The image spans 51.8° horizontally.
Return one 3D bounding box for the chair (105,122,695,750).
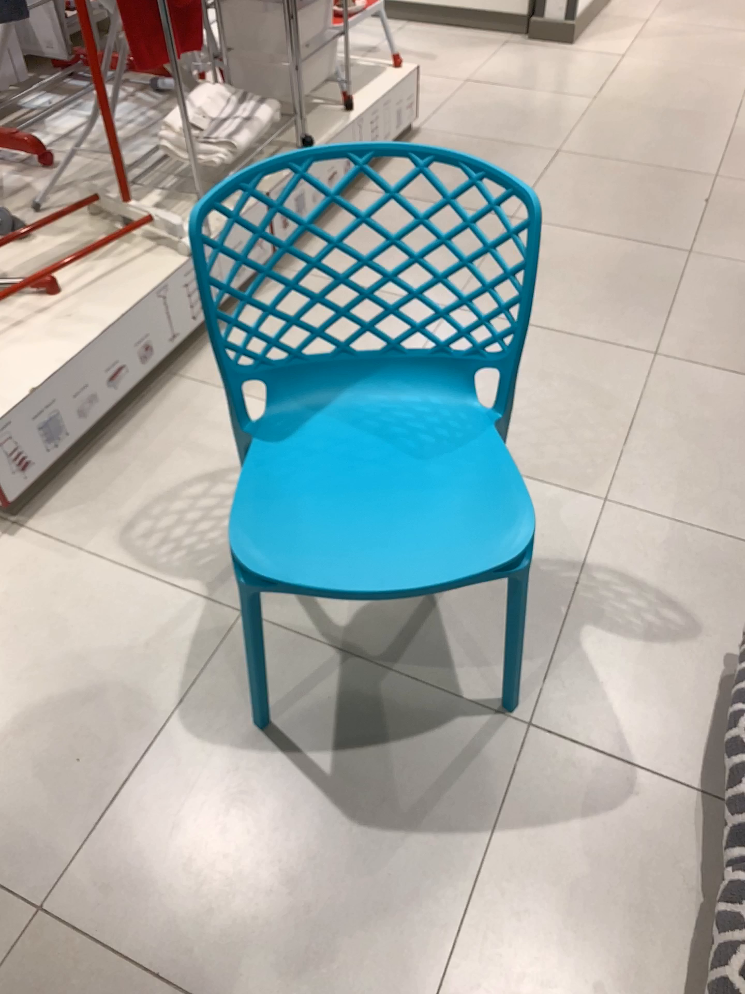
[{"bbox_3d":[0.023,-0.054,1.195,0.560,0.797,0.522,-3,46,-1],"label":"chair"}]
